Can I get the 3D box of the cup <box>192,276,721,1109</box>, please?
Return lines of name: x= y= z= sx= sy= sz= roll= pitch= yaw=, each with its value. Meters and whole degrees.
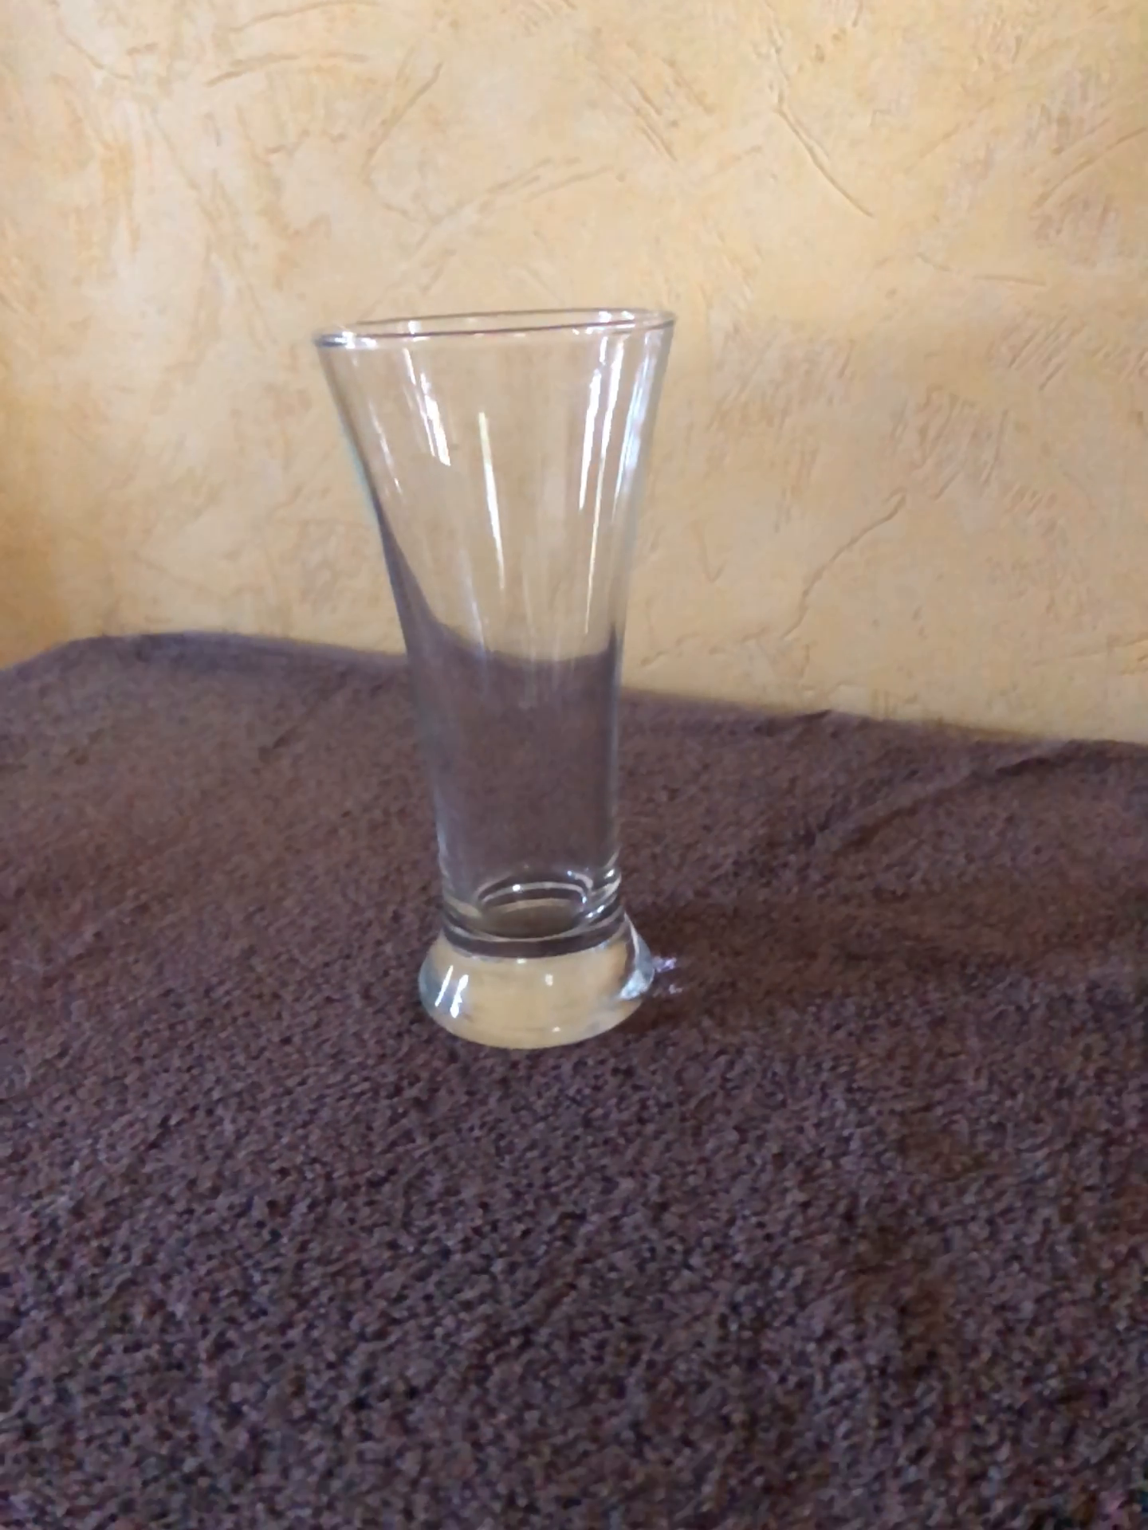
cup: x=-0.013 y=-0.017 z=0.261 sx=0.080 sy=0.149 sz=0.080 roll=-3 pitch=21 yaw=1
